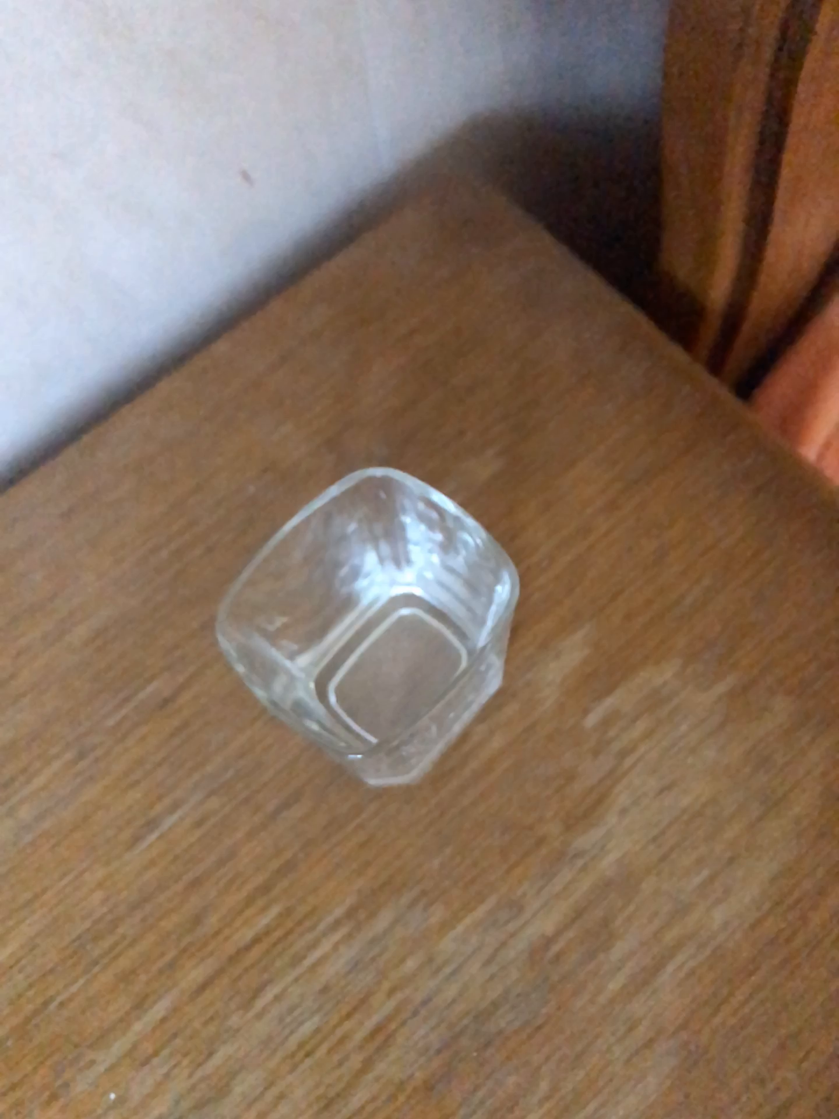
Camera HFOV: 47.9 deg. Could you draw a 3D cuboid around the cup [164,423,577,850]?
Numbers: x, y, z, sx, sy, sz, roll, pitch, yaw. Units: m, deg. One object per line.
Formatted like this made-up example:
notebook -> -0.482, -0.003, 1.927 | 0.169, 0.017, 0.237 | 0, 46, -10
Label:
cup -> -0.009, 0.024, 0.257 | 0.070, 0.070, 0.070 | -2, 67, 4
